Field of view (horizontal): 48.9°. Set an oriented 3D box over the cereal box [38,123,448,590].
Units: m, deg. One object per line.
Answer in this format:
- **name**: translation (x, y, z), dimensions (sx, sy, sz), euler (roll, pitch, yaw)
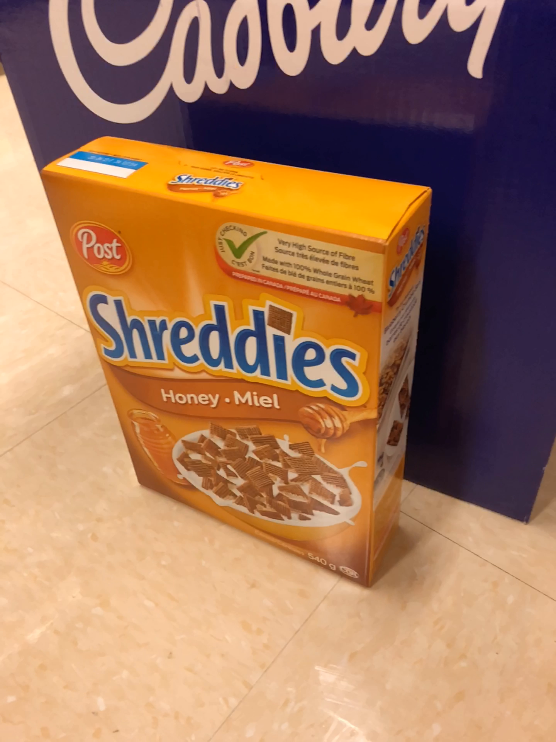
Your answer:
- **cereal box**: translation (-0.015, -0.001, 0.409), dimensions (0.211, 0.278, 0.070), euler (17, 45, 25)
